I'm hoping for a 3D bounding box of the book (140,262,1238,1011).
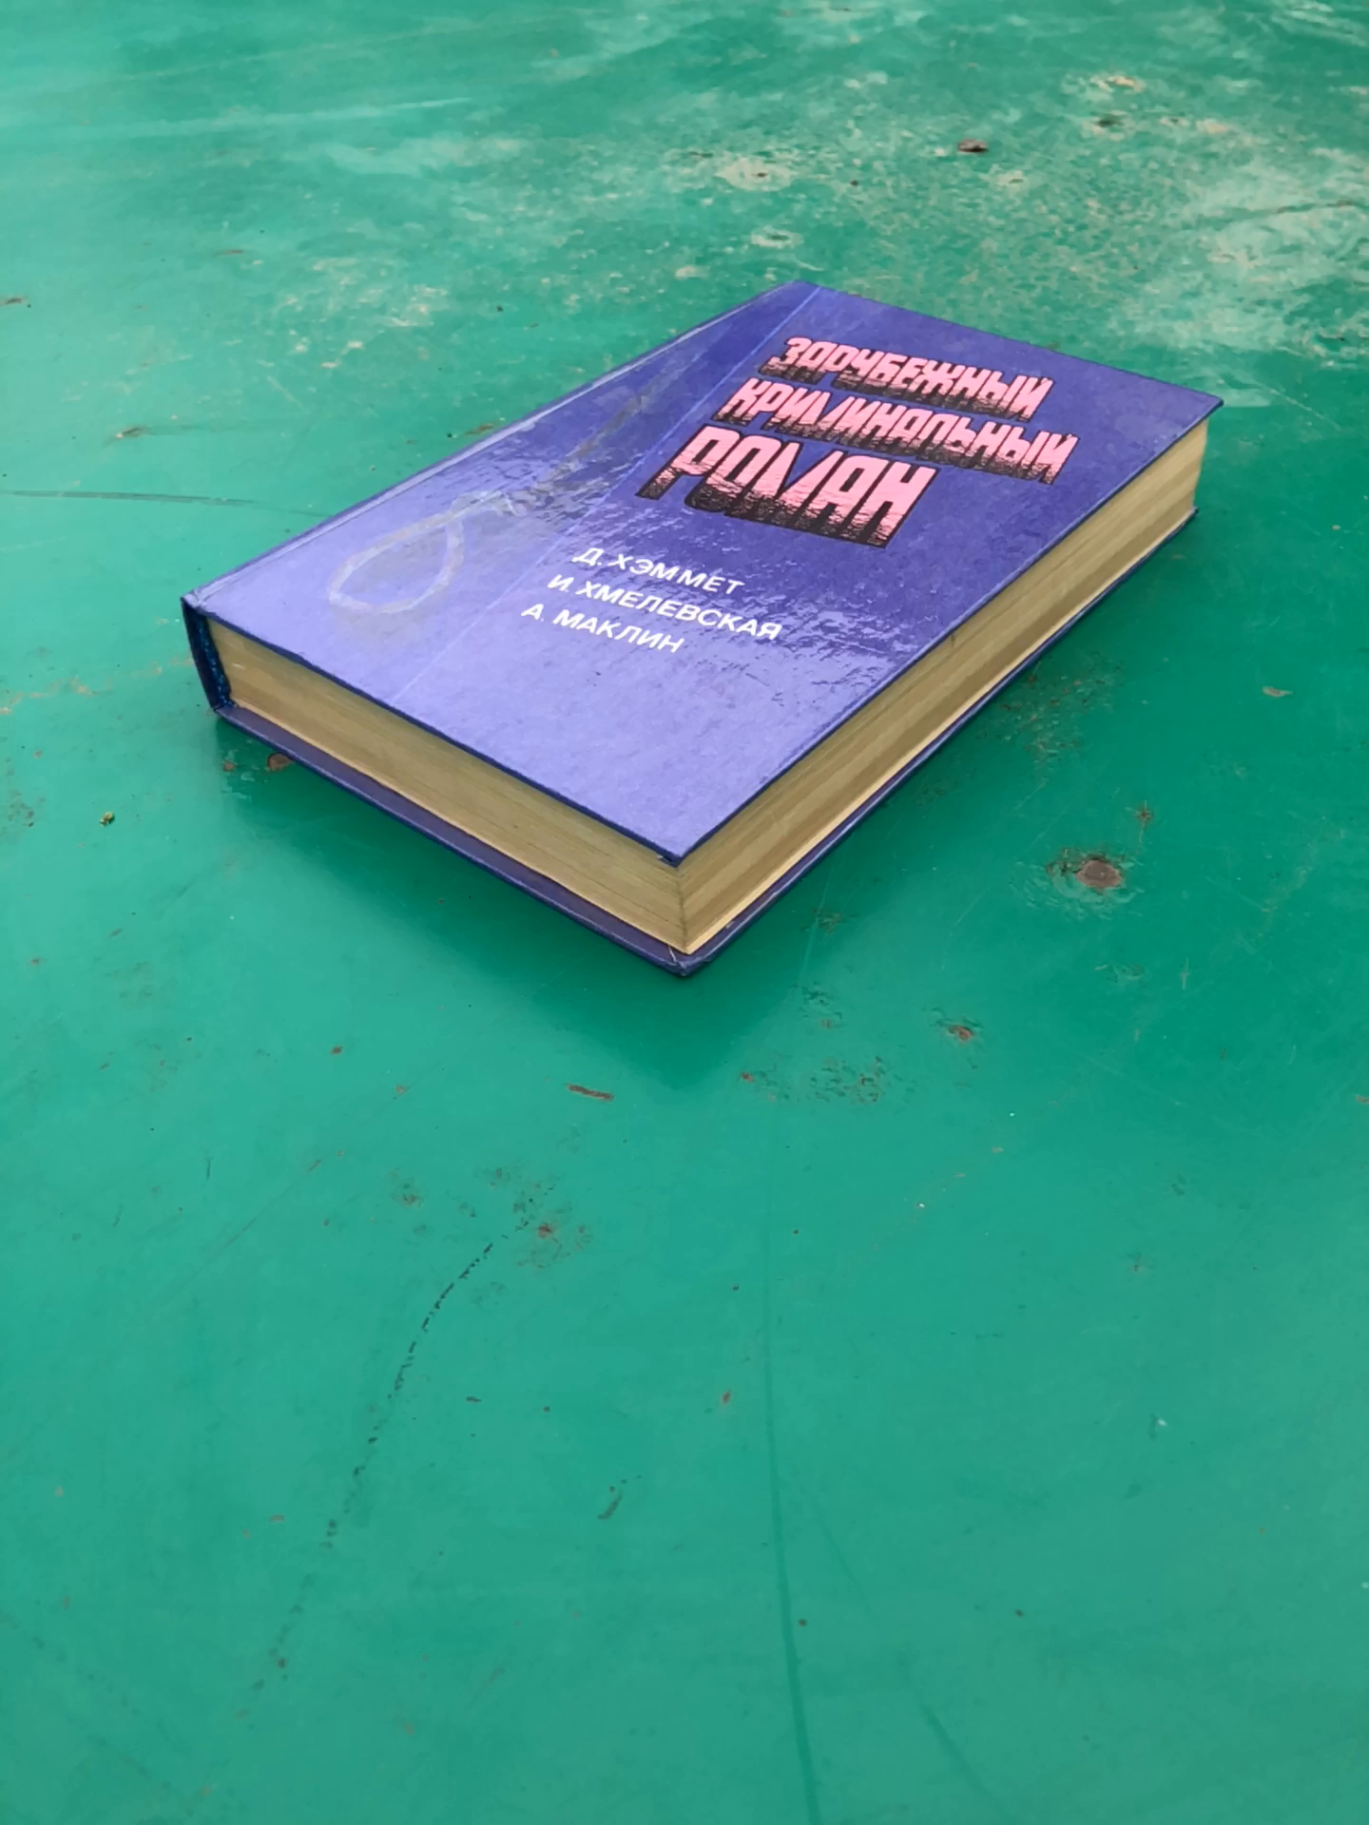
[{"bbox_3d":[0.010,-0.081,0.338,0.137,0.030,0.209,29,52,28],"label":"book"}]
